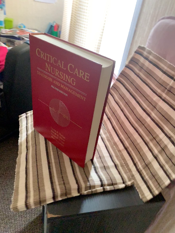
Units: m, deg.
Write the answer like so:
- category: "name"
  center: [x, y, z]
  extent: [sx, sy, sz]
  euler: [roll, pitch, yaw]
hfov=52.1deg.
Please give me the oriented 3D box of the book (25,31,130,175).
- category: "book"
  center: [-0.052, -0.034, 0.463]
  extent: [0.251, 0.287, 0.060]
  euler: [32, 41, 28]
